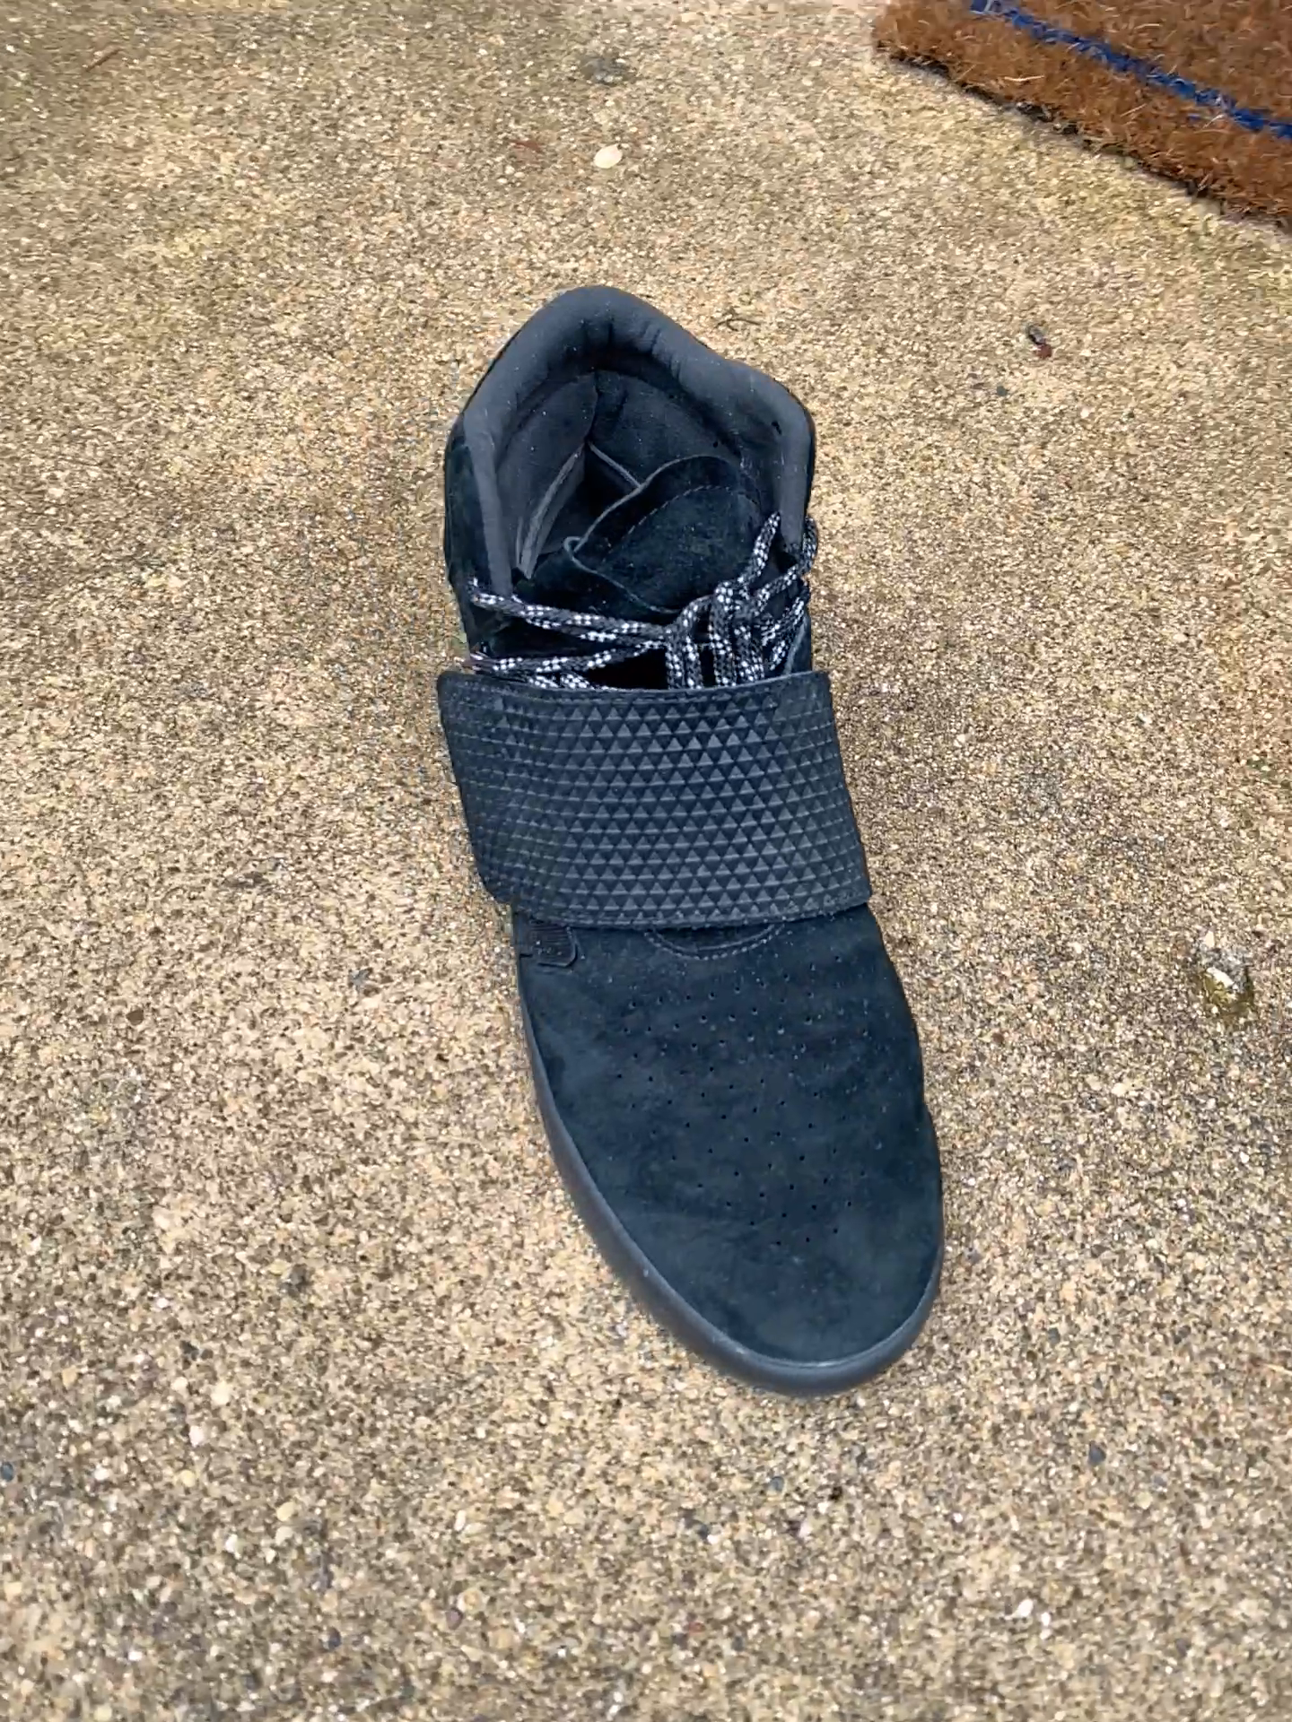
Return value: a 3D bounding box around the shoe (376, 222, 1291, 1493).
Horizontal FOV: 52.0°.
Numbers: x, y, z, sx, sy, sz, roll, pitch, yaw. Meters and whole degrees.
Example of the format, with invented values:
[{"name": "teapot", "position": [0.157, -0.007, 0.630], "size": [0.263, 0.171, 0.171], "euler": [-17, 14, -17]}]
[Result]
[{"name": "shoe", "position": [0.018, -0.008, 0.353], "size": [0.119, 0.142, 0.291], "euler": [-11, 62, -9]}]
